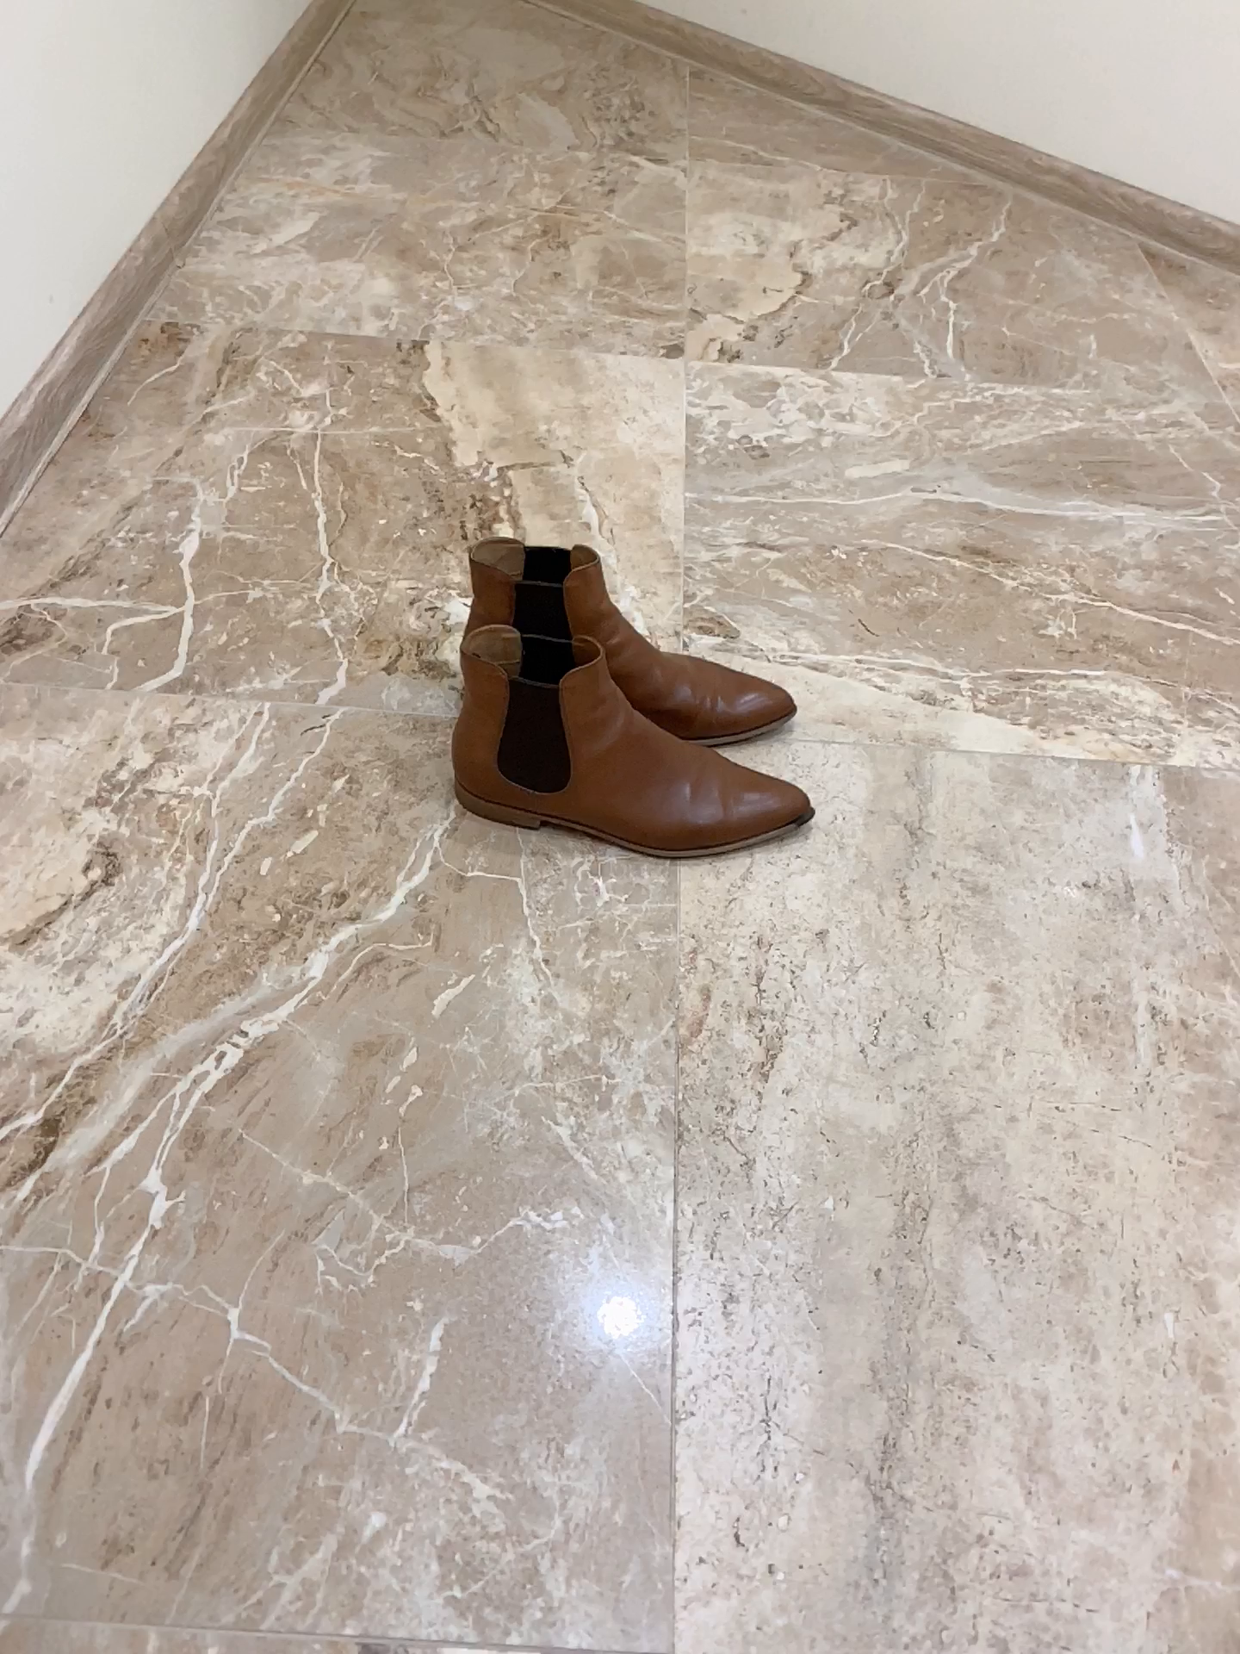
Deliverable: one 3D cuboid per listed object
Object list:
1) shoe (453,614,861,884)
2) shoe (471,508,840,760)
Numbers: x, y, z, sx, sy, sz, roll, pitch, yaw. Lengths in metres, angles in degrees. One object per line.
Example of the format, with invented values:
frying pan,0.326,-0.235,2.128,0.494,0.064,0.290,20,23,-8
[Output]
shoe,0.022,-0.051,0.851,0.250,0.129,0.090,6,46,0
shoe,0.025,-0.141,0.929,0.250,0.119,0.090,8,46,3
